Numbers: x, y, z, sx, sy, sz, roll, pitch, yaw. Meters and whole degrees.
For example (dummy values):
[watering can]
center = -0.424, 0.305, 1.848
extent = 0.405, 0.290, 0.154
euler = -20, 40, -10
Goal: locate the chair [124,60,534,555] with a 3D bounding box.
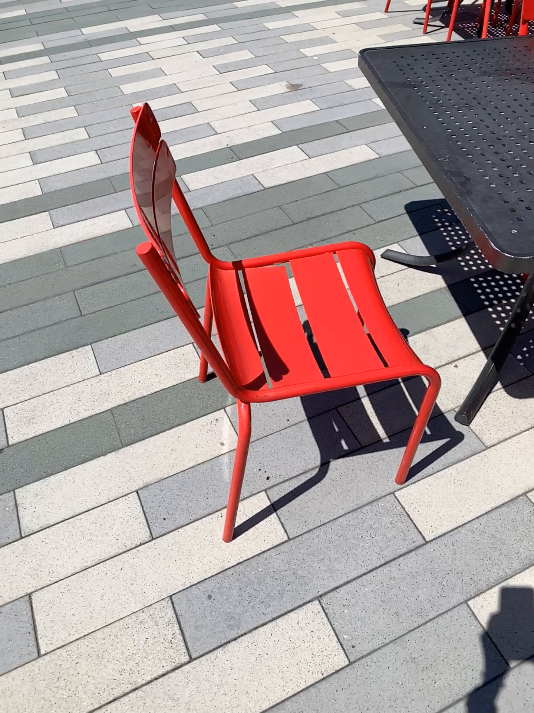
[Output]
[chair]
center = 0.075, -0.073, 1.219
extent = 0.580, 0.845, 0.583
euler = -10, 48, -7
